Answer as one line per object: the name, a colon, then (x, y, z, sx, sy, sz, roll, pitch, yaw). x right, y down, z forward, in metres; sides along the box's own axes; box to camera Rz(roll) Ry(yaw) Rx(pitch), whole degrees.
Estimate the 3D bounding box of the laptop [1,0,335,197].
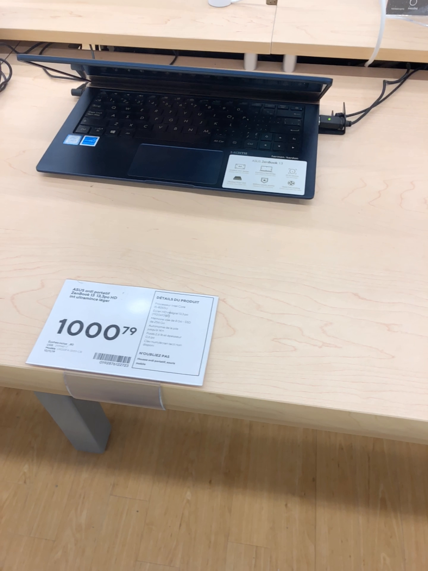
laptop: (-0.030, -0.218, 0.516, 0.299, 0.107, 0.196, 7, 52, 6)
